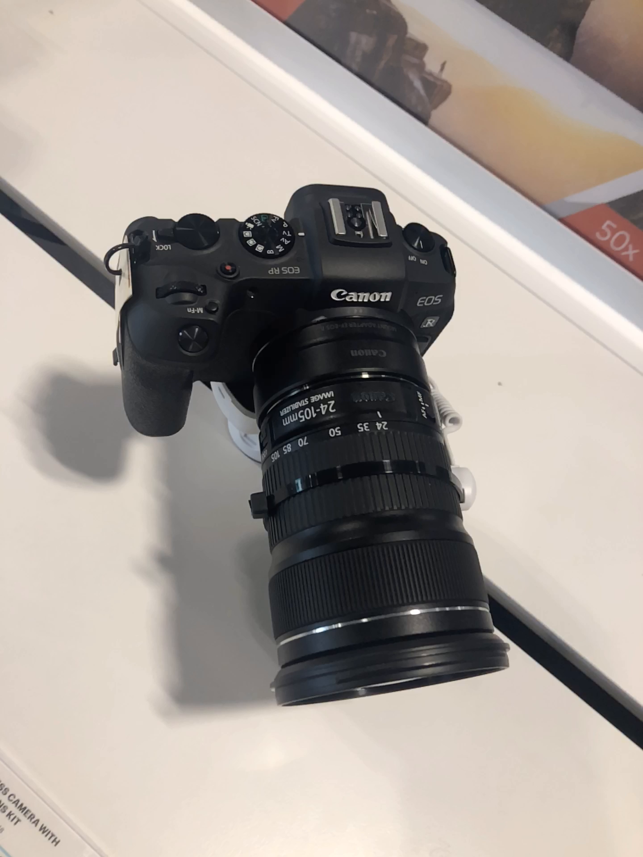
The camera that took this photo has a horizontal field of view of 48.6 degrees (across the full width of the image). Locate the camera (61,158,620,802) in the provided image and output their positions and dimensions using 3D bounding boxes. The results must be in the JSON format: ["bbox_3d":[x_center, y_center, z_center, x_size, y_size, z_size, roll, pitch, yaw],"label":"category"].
[{"bbox_3d":[-0.013,0.010,0.255,0.136,0.090,0.191,-4,63,-19],"label":"camera"}]
